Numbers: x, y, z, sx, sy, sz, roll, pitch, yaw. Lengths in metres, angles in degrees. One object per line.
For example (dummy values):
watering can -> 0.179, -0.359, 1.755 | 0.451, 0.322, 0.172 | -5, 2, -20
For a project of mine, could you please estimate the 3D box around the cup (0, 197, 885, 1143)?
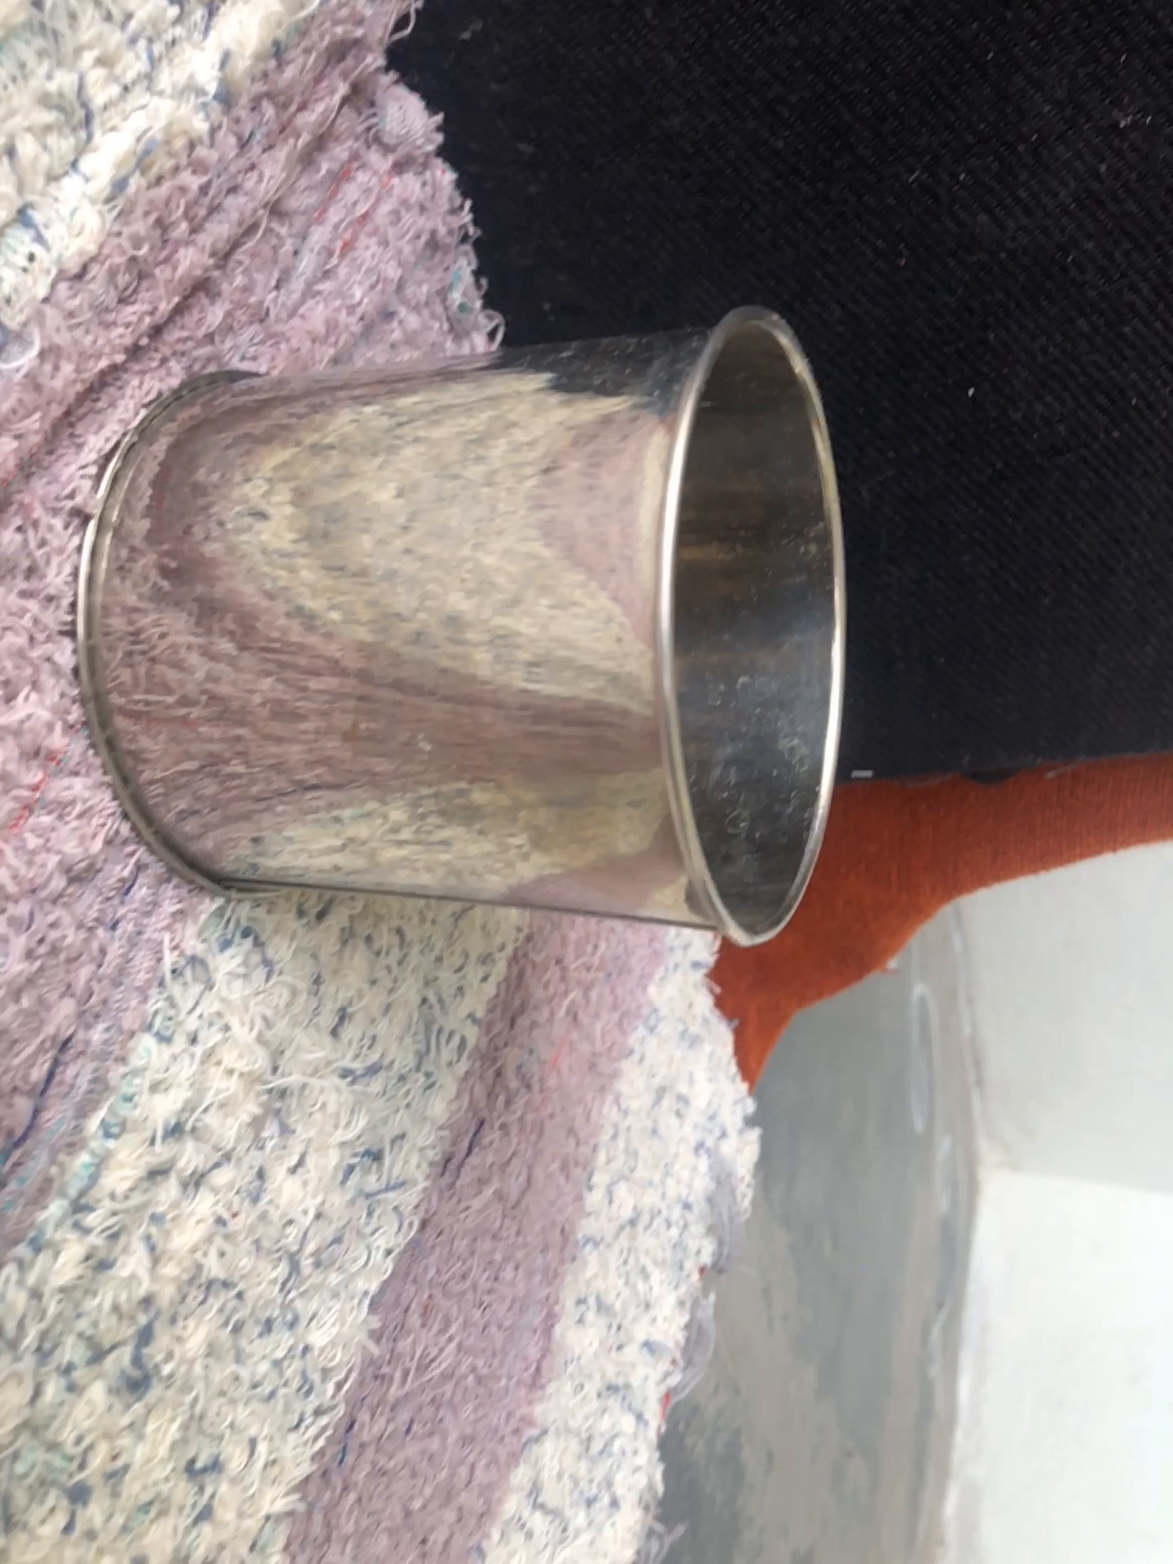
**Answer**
cup -> -0.009, -0.013, 0.182 | 0.090, 0.079, 0.080 | 69, 32, -45
